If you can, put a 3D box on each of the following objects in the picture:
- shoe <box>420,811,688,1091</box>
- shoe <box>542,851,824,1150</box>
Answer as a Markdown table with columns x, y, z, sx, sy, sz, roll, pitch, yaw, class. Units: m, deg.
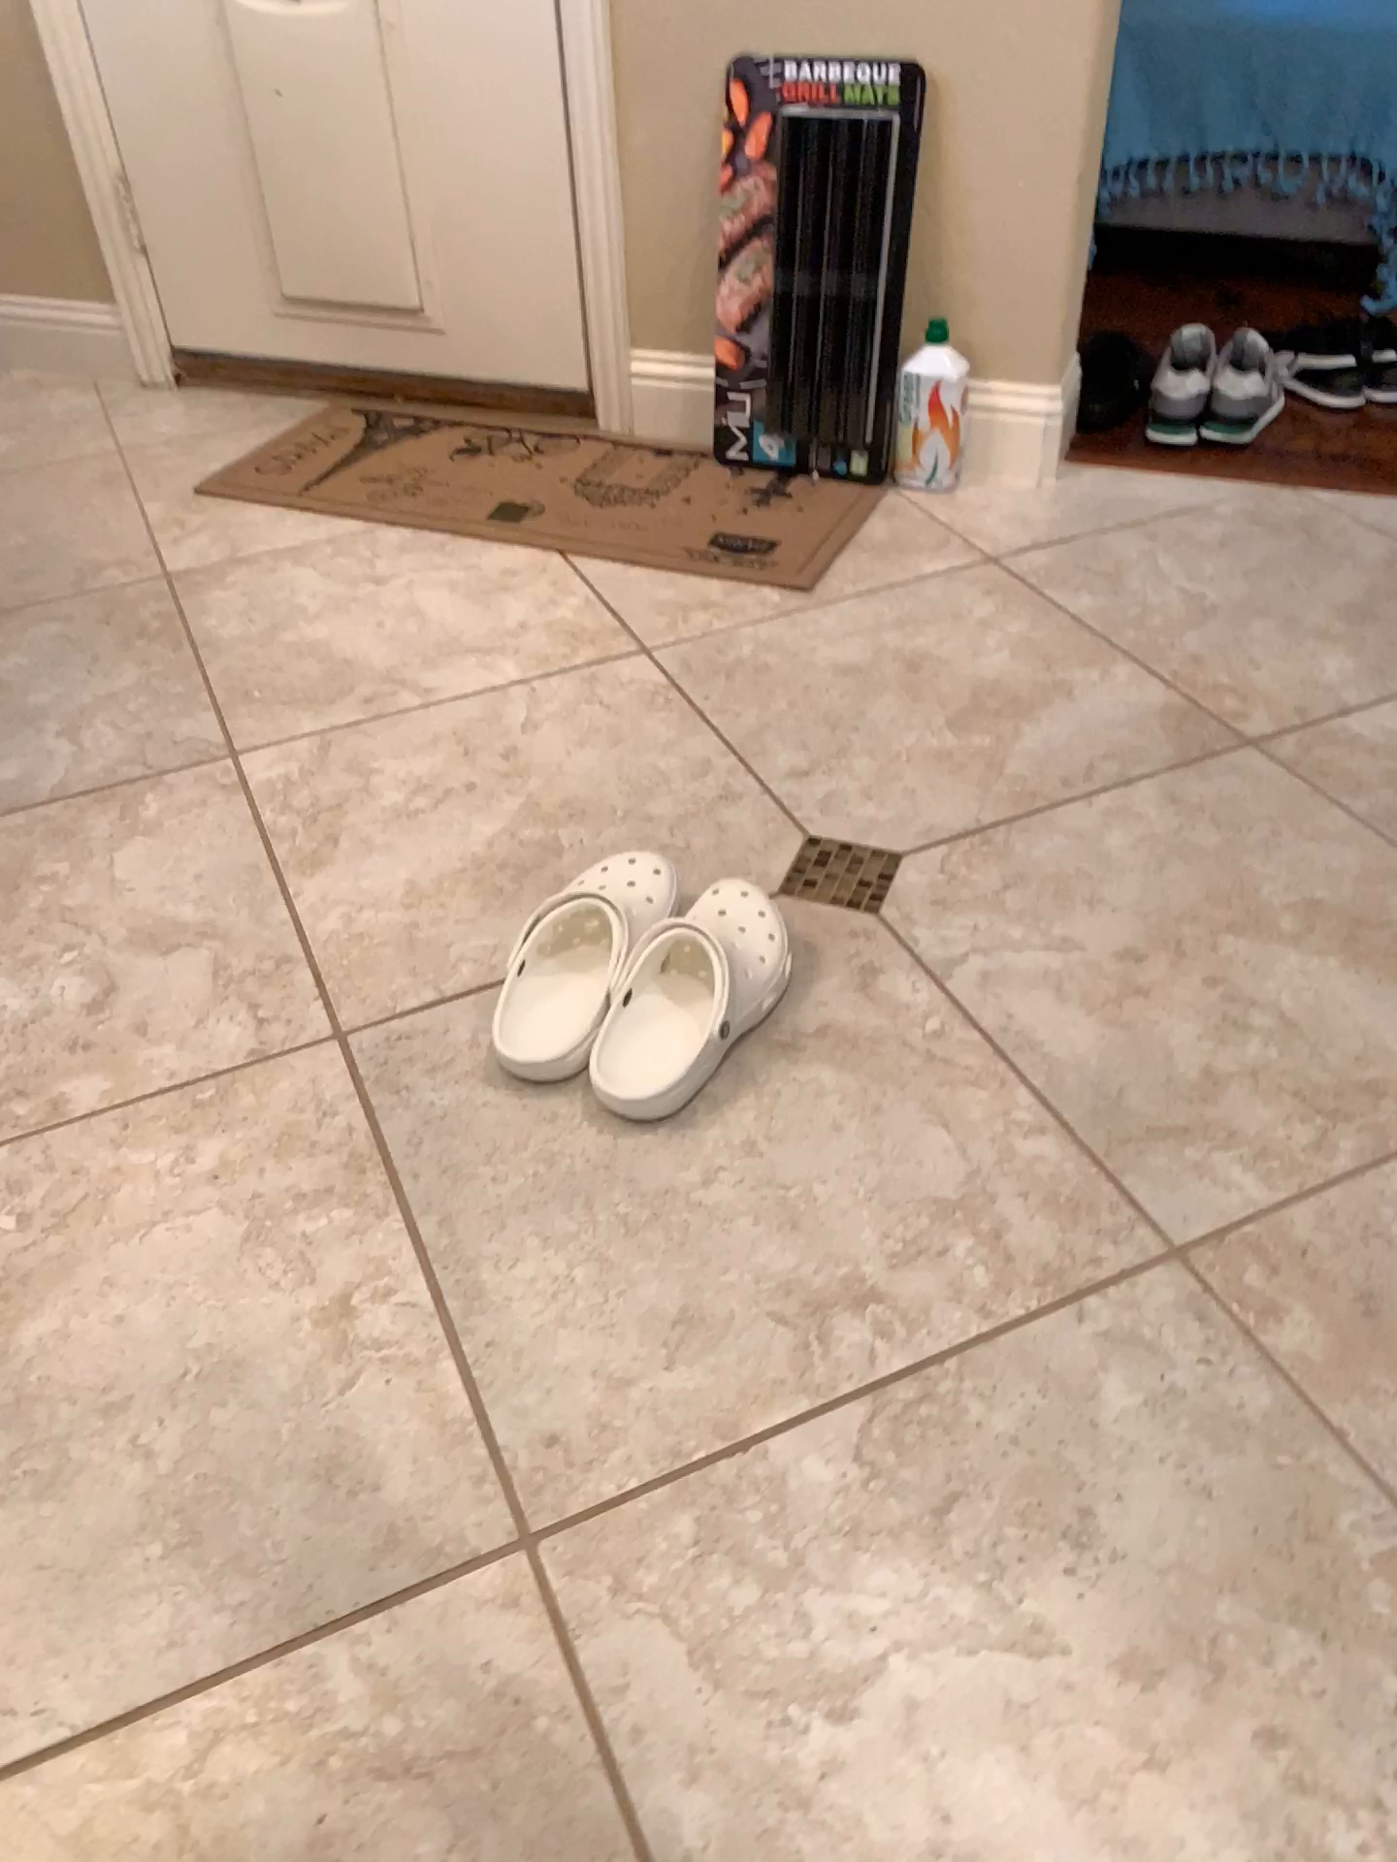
| x | y | z | sx | sy | sz | roll | pitch | yaw | class |
| --- | --- | --- | --- | --- | --- | --- | --- | --- | --- |
| -0.117 | 0.009 | 1.240 | 0.119 | 0.073 | 0.262 | 14 | 43 | 19 | shoe |
| -0.005 | 0.049 | 1.202 | 0.130 | 0.073 | 0.261 | 16 | 43 | 21 | shoe |
